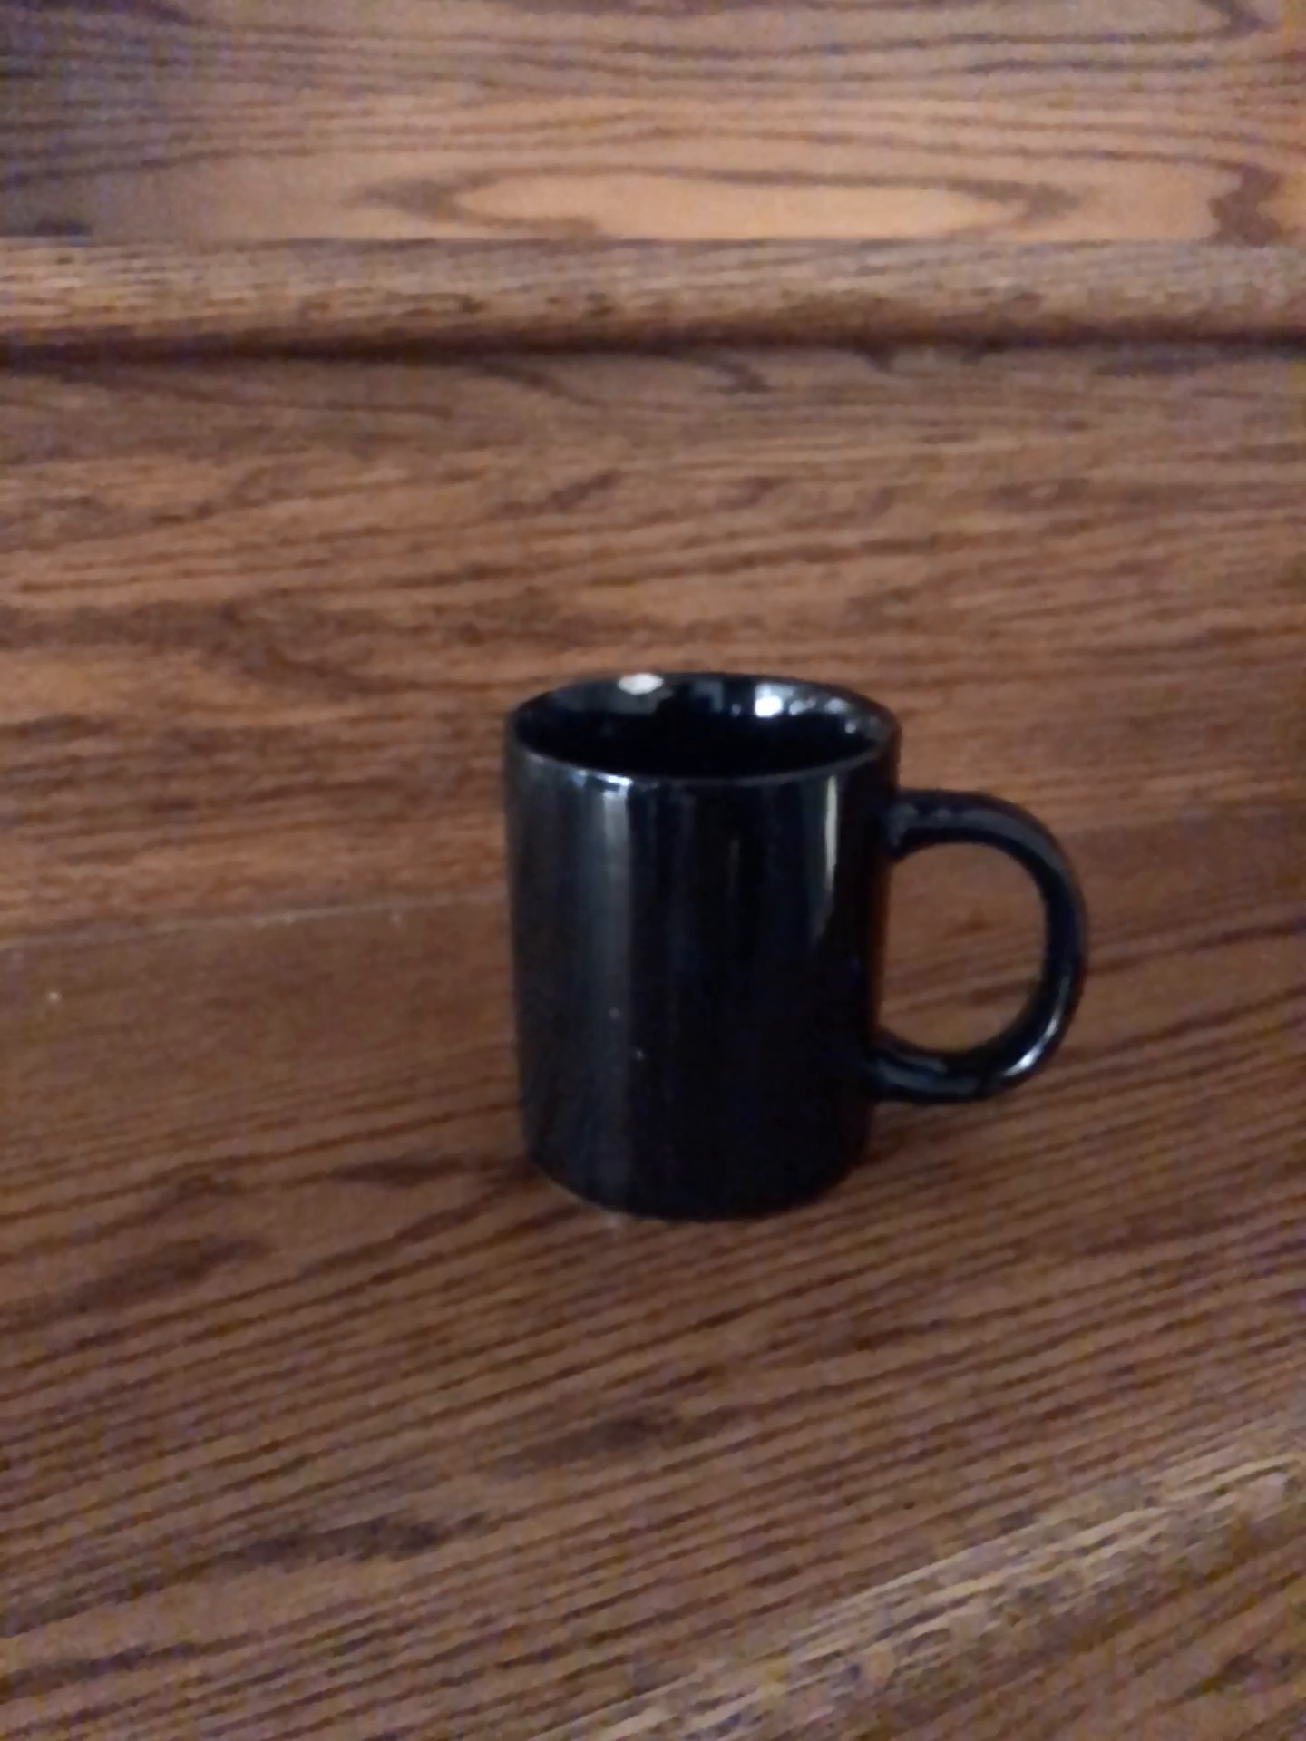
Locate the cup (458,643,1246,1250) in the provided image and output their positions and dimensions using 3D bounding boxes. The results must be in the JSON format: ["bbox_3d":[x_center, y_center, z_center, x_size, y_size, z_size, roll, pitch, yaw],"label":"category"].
[{"bbox_3d":[0.035,0.011,0.315,0.135,0.095,0.092,1,23,2],"label":"cup"}]
